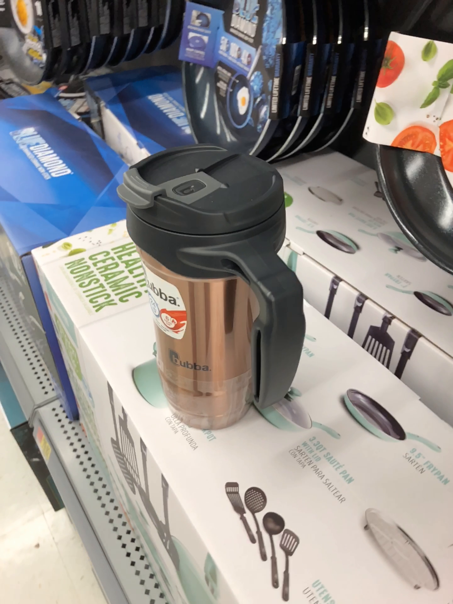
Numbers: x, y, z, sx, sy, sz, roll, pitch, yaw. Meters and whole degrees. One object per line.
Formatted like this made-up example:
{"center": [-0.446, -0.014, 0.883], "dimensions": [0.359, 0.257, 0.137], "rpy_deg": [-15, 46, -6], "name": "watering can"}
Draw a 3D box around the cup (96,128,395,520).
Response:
{"center": [0.004, 0.012, 0.322], "dimensions": [0.093, 0.182, 0.144], "rpy_deg": [-22, 45, -22], "name": "cup"}
